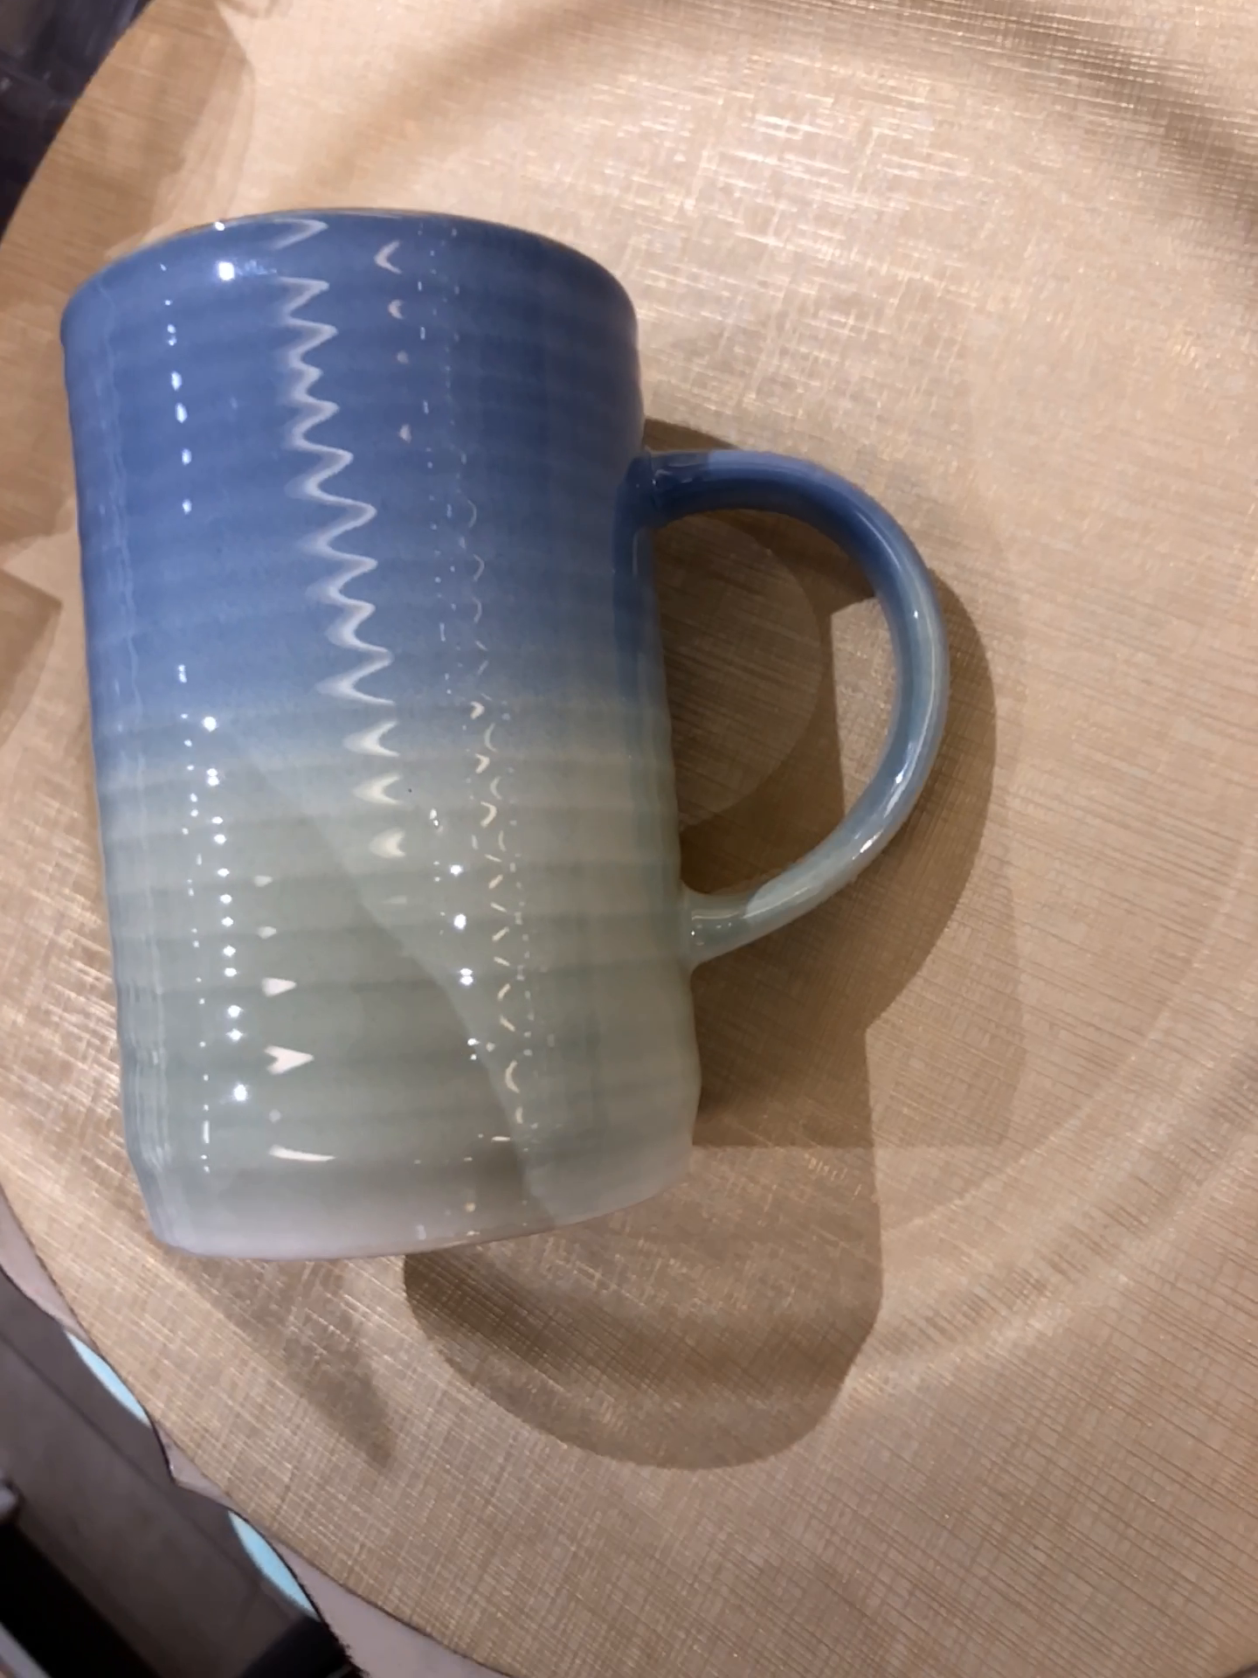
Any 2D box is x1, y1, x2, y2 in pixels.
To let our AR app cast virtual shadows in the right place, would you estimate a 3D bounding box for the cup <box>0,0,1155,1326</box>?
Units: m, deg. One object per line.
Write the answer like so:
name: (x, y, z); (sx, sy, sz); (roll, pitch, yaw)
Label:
cup: (-0.009, -0.019, 0.182); (0.120, 0.060, 0.140); (-4, 83, 7)
